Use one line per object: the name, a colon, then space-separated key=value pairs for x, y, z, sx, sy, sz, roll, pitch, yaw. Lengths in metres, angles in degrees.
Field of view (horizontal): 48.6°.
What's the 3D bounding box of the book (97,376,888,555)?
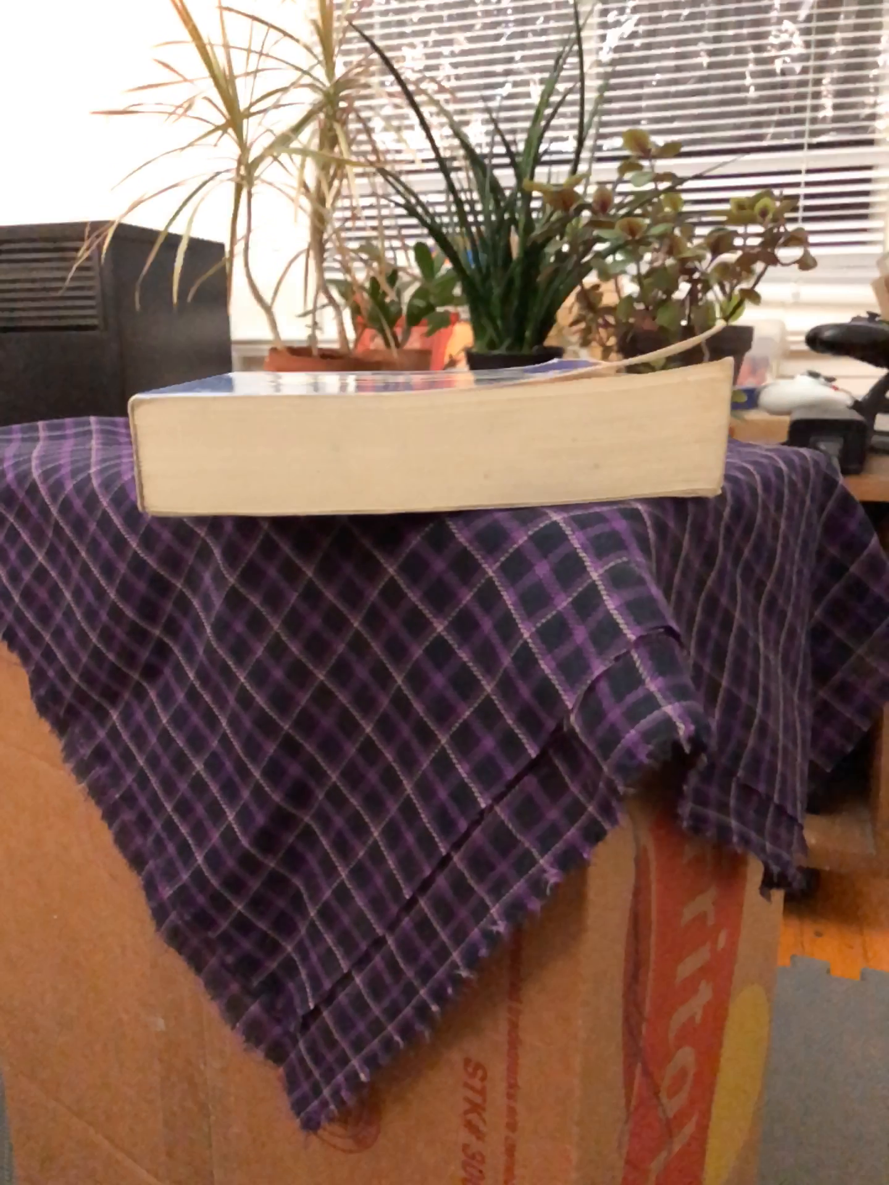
book: x=0.003 y=-0.061 z=0.375 sx=0.200 sy=0.040 sz=0.261 roll=-2 pitch=13 yaw=-6
